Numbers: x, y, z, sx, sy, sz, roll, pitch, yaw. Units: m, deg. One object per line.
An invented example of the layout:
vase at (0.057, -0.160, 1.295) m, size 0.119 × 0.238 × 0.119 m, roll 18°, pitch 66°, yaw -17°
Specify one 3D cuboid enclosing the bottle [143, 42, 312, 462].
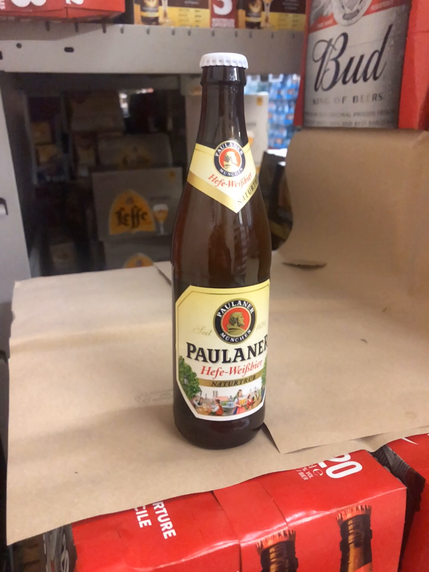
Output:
bottle at (0.007, -0.016, 0.302) m, size 0.080 × 0.239 × 0.080 m, roll -1°, pitch 20°, yaw 0°
